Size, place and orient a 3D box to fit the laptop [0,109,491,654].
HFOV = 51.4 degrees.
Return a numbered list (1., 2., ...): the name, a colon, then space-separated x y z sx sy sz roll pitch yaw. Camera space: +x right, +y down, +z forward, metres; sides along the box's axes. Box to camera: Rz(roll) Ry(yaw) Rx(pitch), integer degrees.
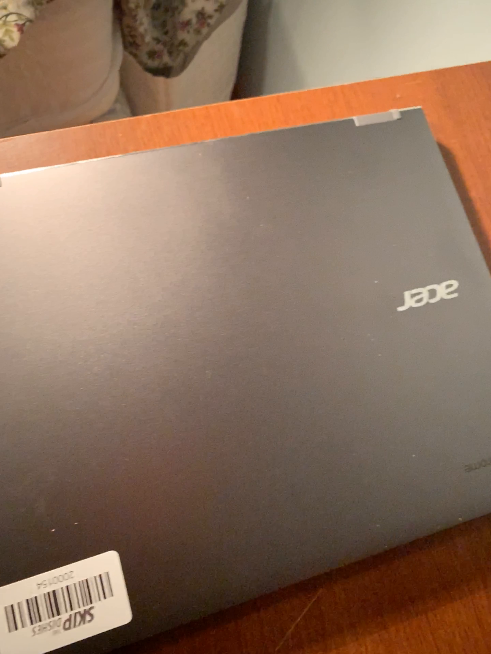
1. laptop: 0.001 0.006 0.264 0.299 0.002 0.232 -13 77 -12
